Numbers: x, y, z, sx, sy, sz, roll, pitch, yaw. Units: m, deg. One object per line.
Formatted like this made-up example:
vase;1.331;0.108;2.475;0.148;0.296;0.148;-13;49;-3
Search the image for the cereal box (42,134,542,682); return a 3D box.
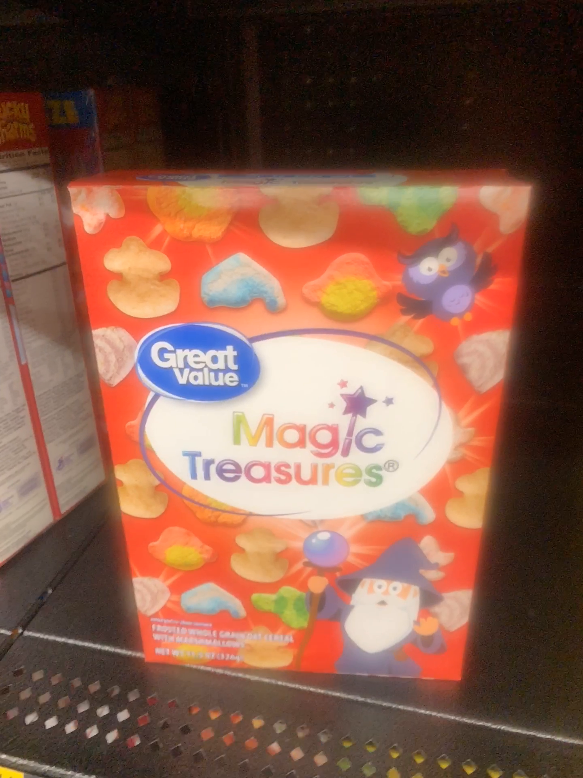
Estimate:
cereal box;0.002;0.017;0.324;0.200;0.279;0.070;1;22;5
